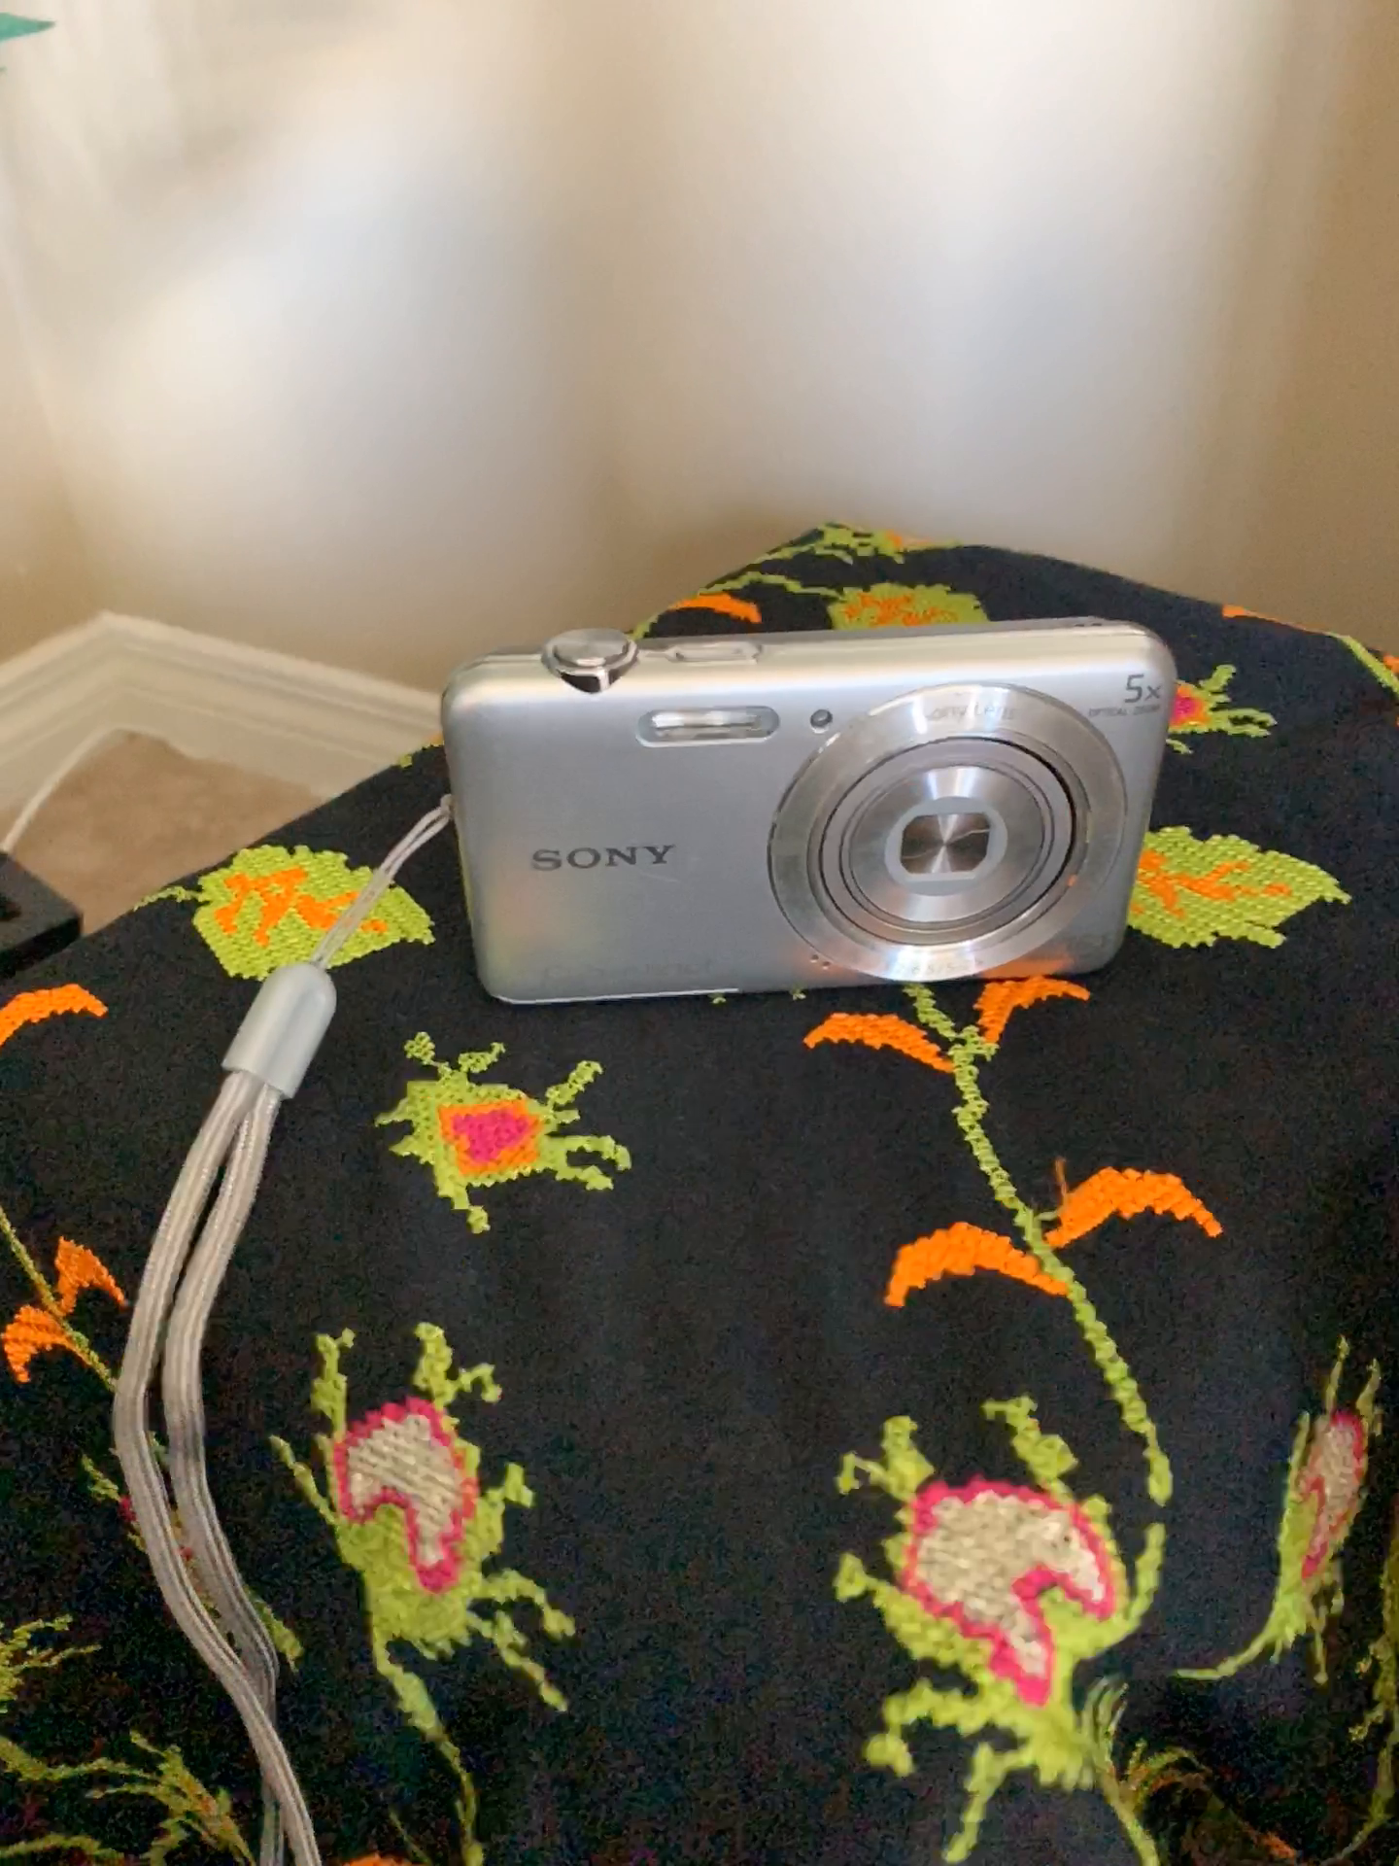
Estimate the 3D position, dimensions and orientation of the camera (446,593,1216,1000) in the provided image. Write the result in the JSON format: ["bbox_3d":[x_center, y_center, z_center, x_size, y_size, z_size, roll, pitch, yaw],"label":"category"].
[{"bbox_3d":[0.015,-0.017,0.181,0.086,0.042,0.020,-3,36,-3],"label":"camera"}]
